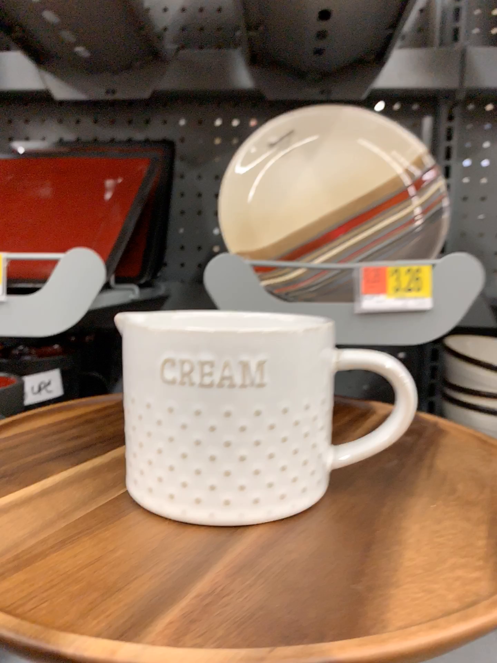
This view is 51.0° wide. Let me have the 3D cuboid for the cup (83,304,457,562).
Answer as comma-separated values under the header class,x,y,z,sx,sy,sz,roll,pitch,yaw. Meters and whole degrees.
class,x,y,z,sx,sy,sz,roll,pitch,yaw
cup,0.011,0.037,0.262,0.150,0.090,0.100,2,7,9
